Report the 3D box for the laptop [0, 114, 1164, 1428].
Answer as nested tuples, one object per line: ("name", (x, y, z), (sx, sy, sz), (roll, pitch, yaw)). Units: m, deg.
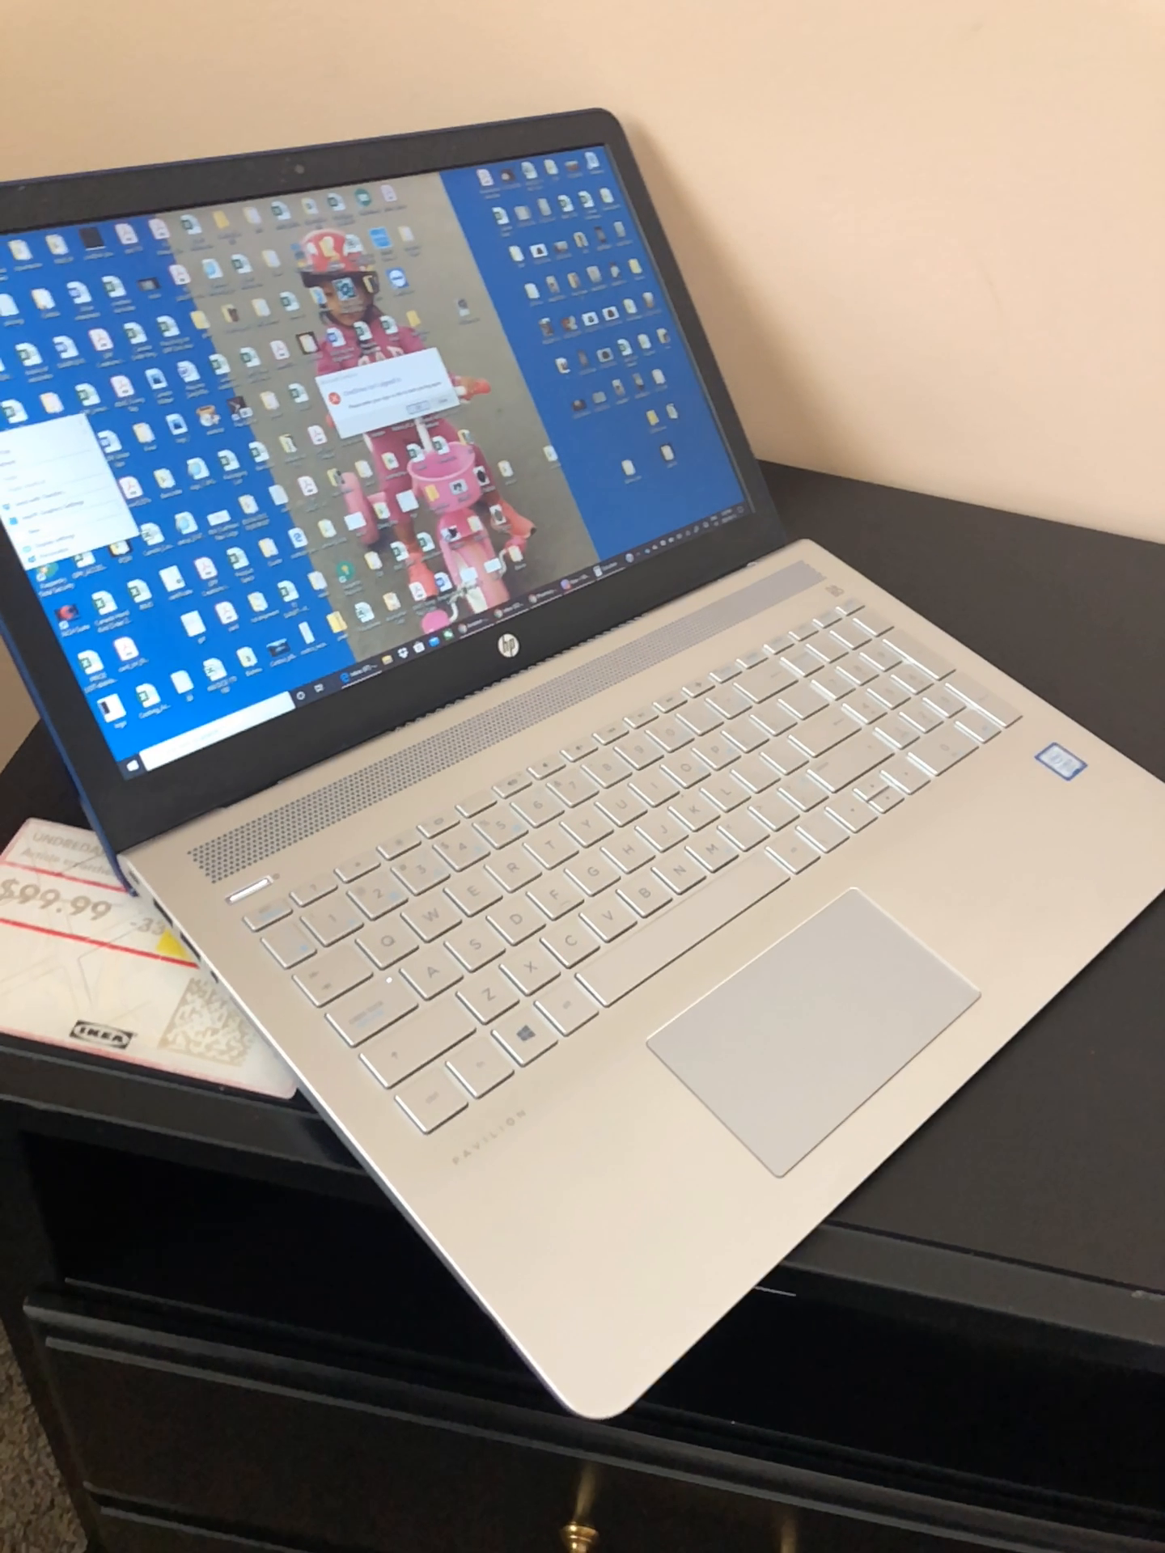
("laptop", (0.010, -0.077, 0.474), (0.366, 0.141, 0.401), (-29, 58, -35))
